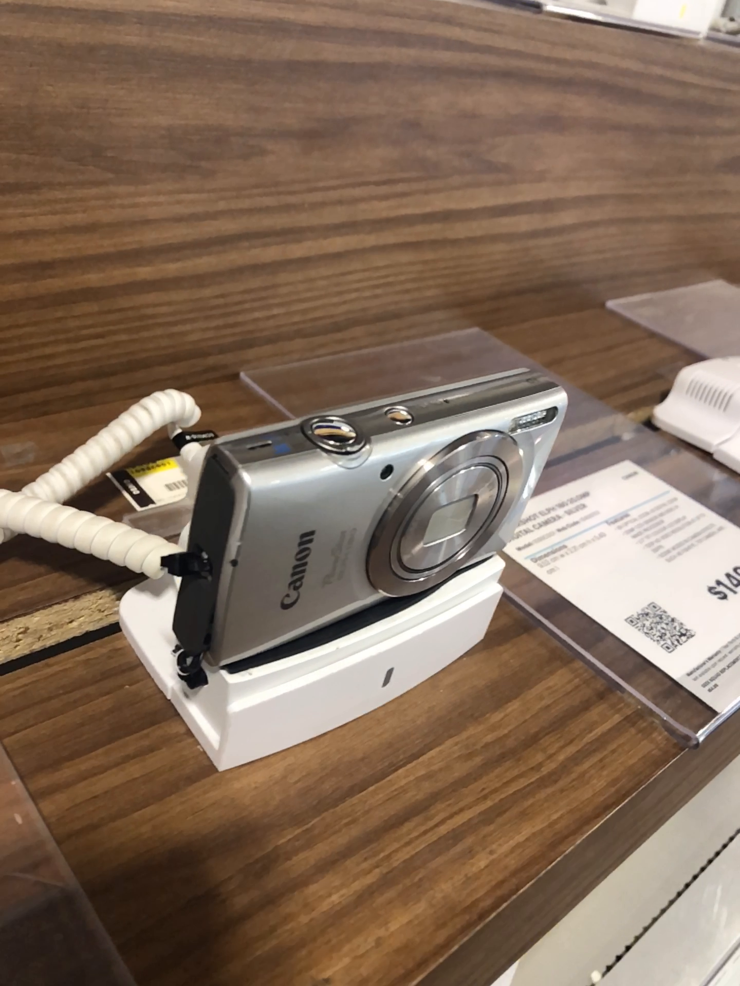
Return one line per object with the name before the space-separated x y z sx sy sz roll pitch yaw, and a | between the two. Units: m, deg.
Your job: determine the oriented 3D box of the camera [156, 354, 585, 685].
camera | 0.003 0.002 0.190 0.100 0.050 0.020 -17 45 -37
